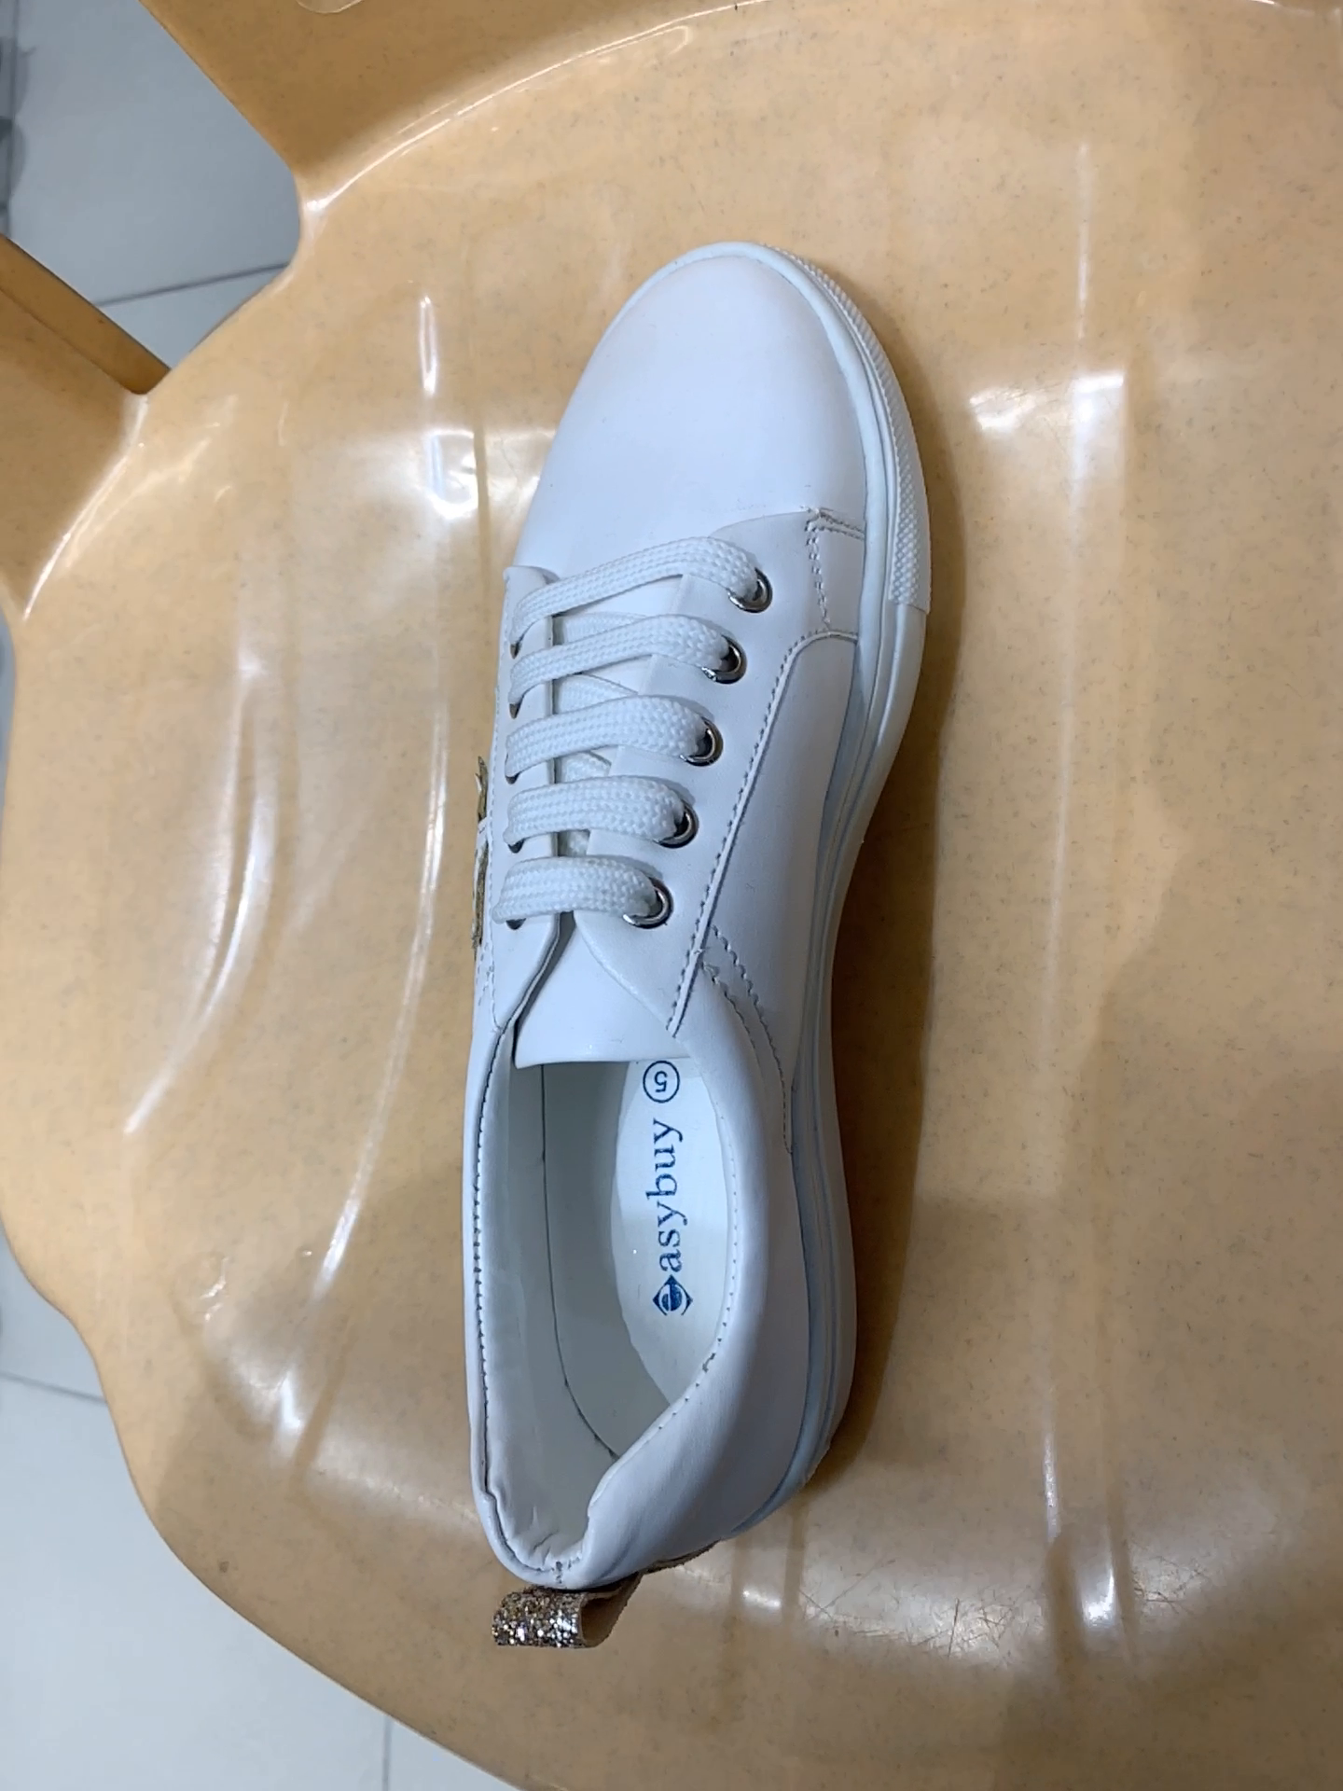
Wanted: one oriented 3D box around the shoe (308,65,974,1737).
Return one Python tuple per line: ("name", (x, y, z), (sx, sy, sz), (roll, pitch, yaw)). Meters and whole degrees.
("shoe", (-0.001, 0.001, 0.260), (0.090, 0.090, 0.240), (-1, 89, 27))
